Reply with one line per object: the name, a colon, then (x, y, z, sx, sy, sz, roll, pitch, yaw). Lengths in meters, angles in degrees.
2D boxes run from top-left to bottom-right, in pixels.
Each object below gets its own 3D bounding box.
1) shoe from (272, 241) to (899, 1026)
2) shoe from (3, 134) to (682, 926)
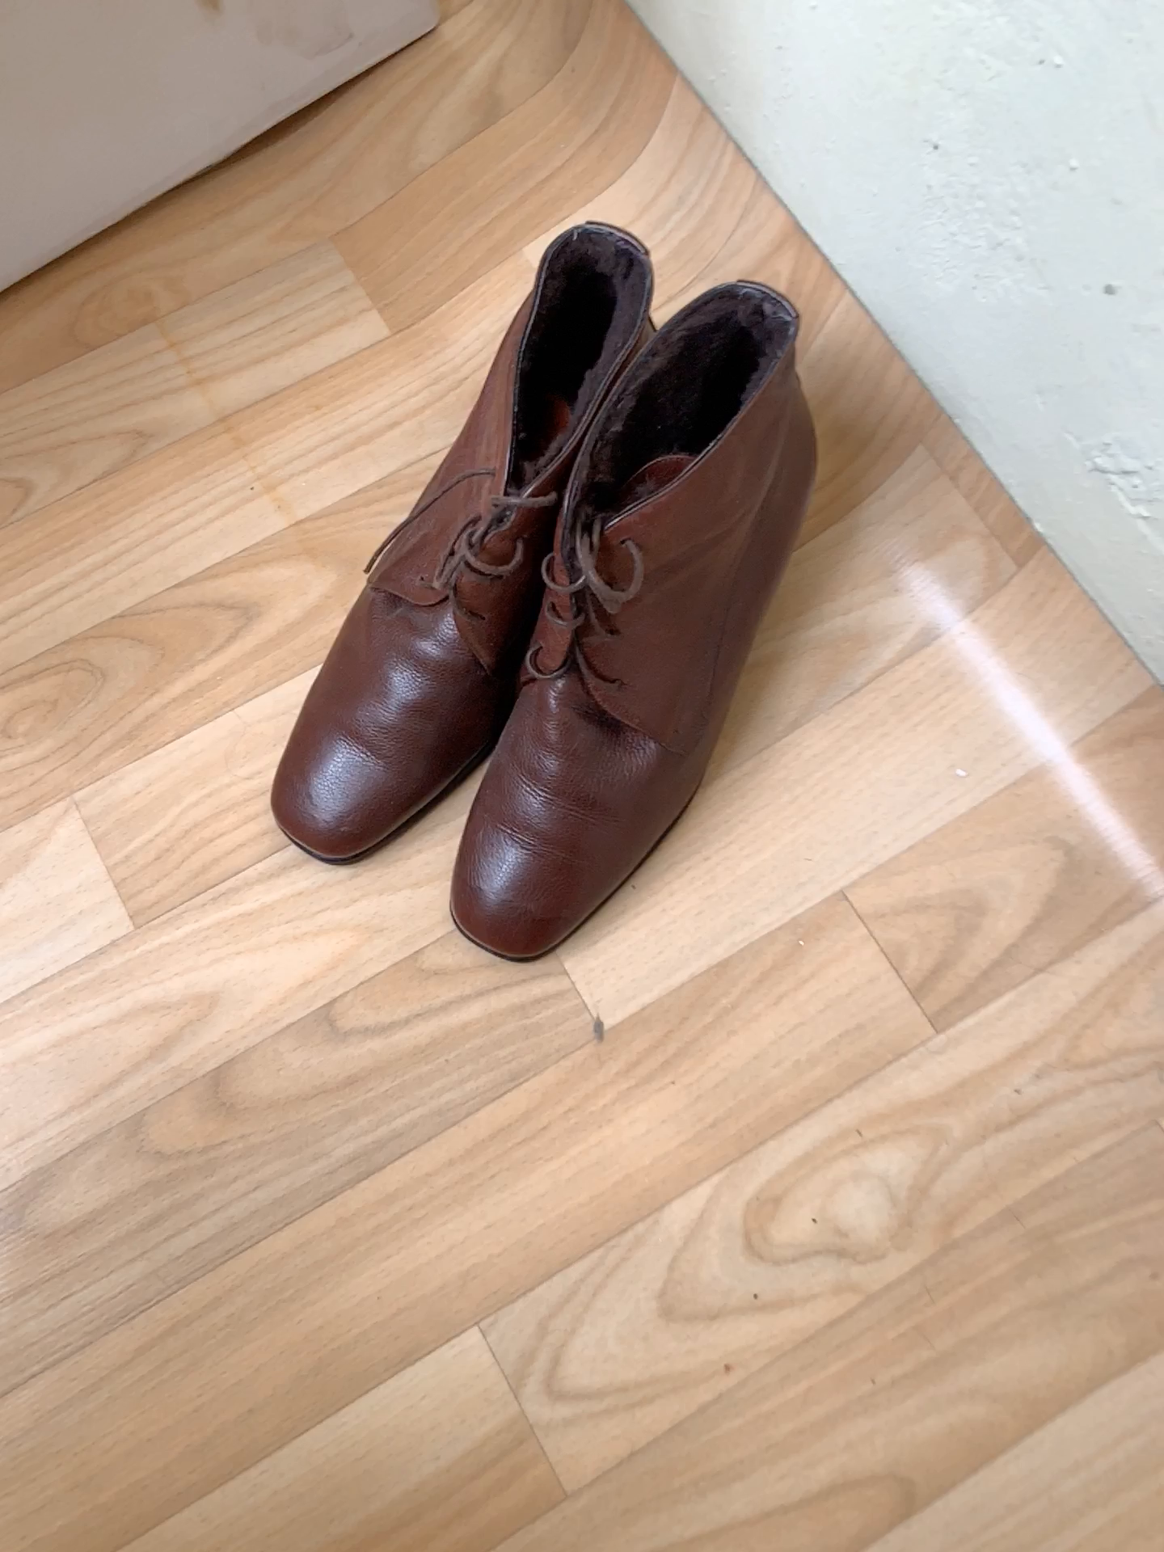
shoe: (0.009, -0.036, 0.414, 0.080, 0.150, 0.220, 29, 78, 10)
shoe: (-0.061, -0.072, 0.417, 0.080, 0.150, 0.220, 33, 78, 12)
